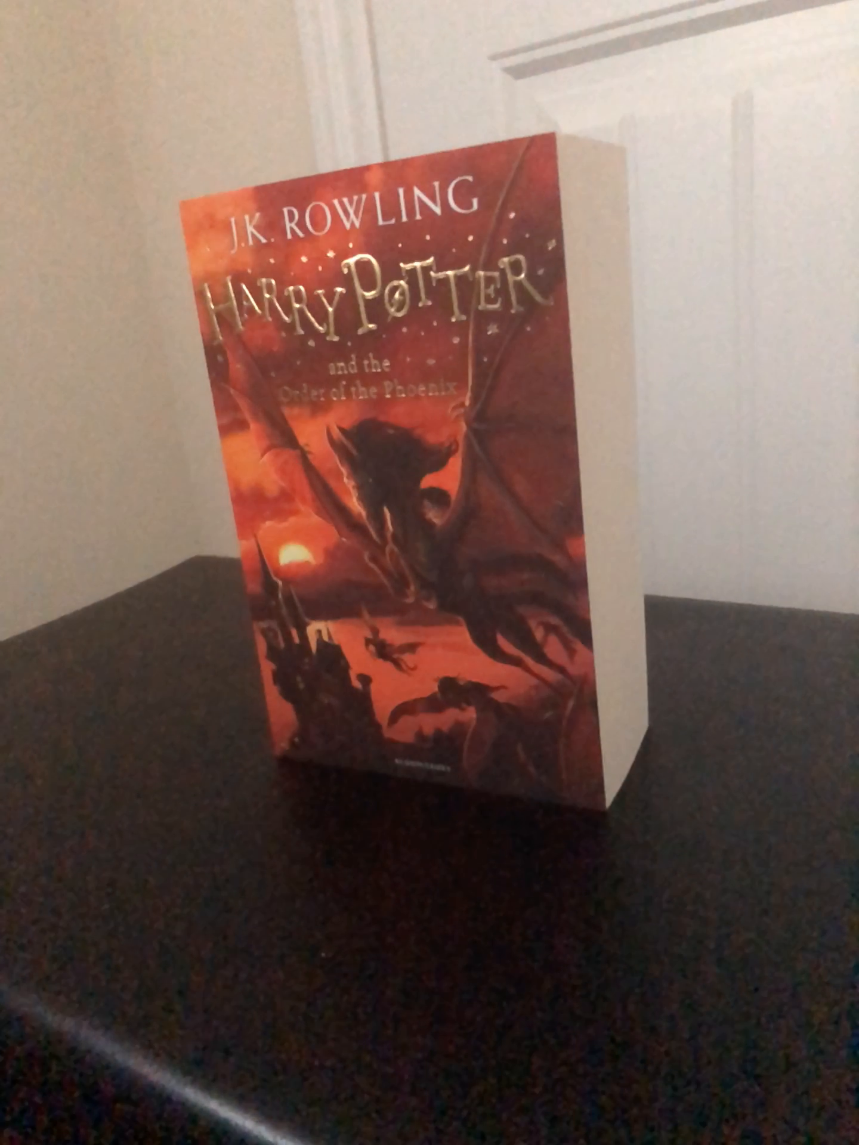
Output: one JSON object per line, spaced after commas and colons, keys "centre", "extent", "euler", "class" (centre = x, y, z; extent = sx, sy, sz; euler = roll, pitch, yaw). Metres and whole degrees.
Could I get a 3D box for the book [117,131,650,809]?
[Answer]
{"centre": [-0.009, -0.030, 0.316], "extent": [0.141, 0.189, 0.061], "euler": [2, 20, 26], "class": "book"}
